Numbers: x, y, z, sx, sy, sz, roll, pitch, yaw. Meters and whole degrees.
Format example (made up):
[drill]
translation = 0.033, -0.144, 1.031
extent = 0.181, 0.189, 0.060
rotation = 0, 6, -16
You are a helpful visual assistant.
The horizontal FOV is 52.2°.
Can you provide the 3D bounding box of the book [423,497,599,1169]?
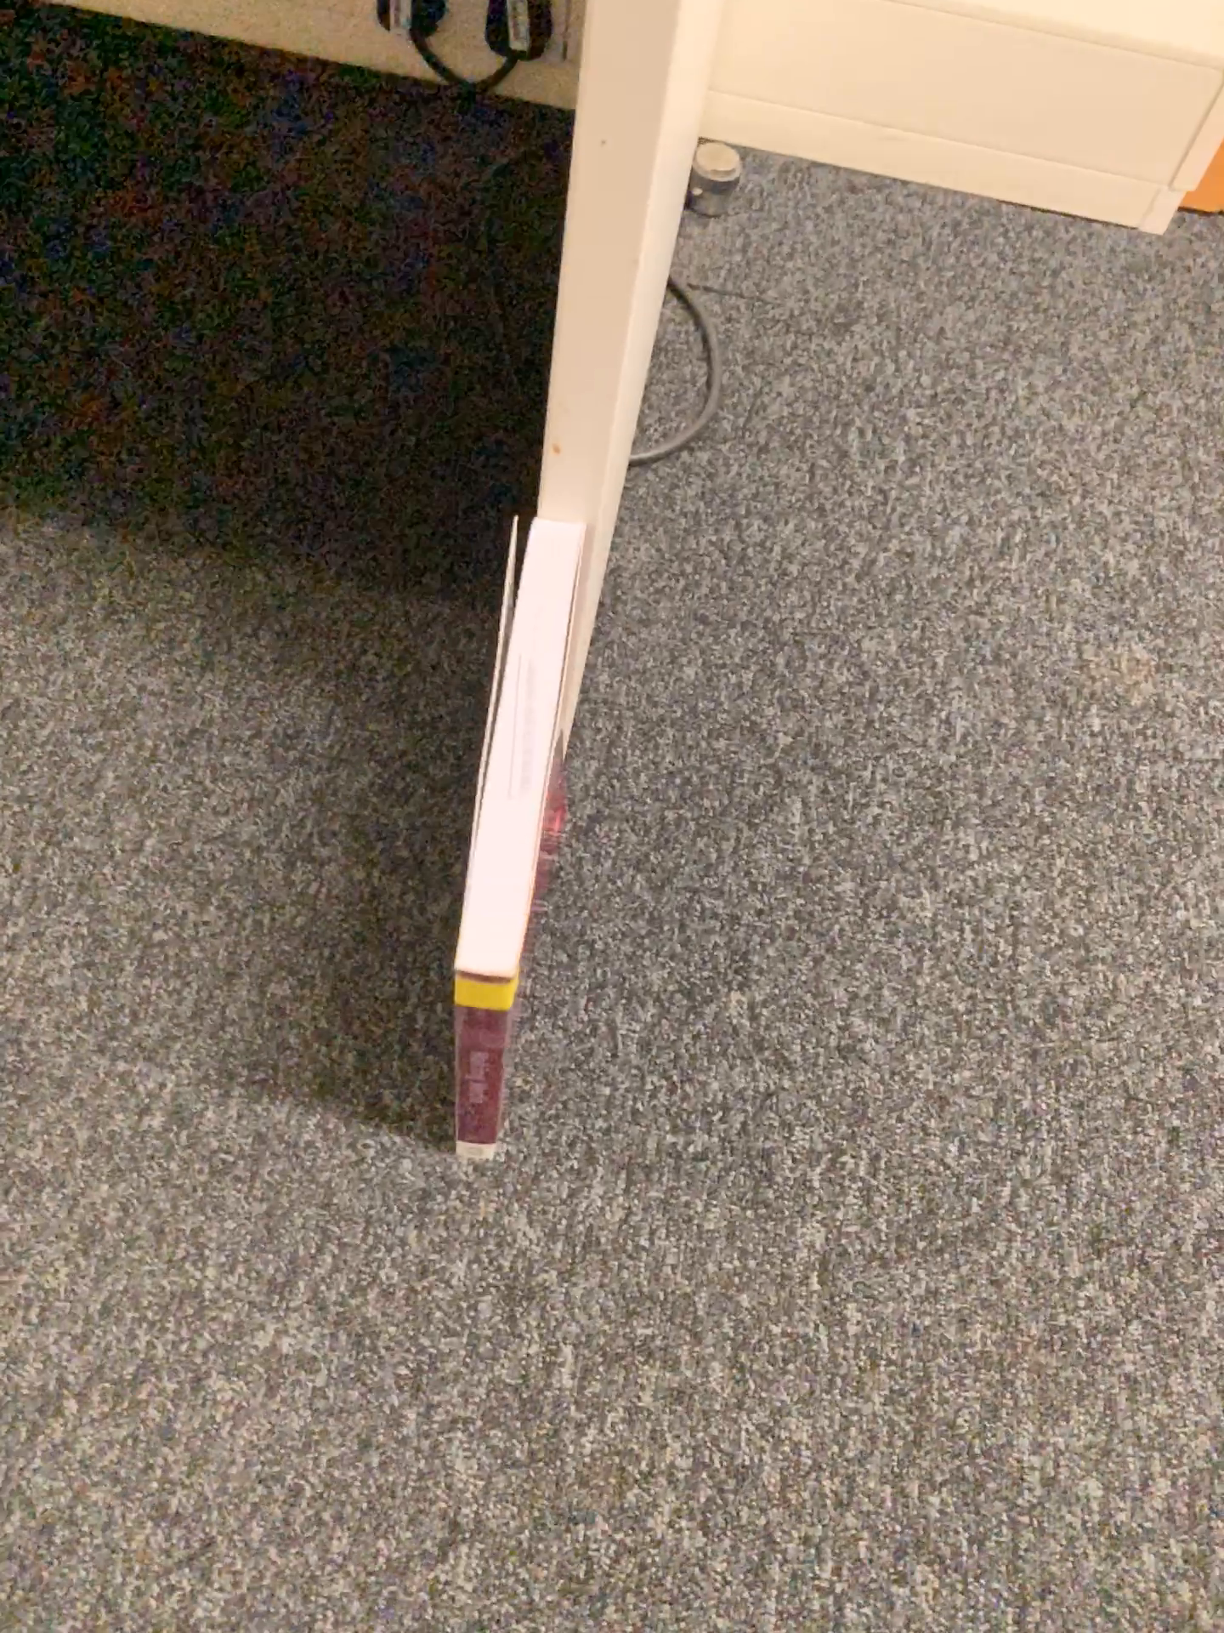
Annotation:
[book]
translation = -0.042, 0.021, 0.534
extent = 0.036, 0.228, 0.201
rotation = 7, 61, -2
